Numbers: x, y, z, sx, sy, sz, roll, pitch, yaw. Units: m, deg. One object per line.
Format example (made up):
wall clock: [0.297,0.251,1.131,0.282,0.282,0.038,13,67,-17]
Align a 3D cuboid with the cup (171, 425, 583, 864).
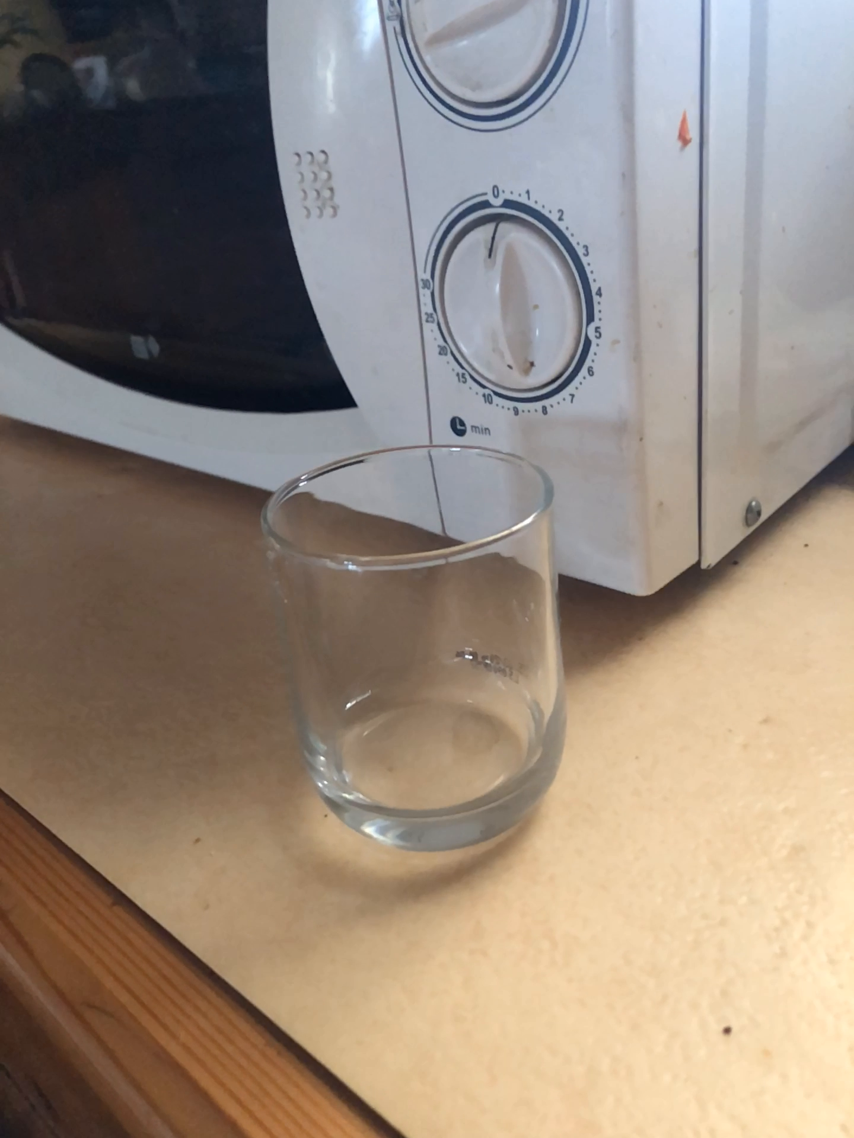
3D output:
cup: [-0.003,0.013,0.218,0.070,0.070,0.070,-5,27,3]
